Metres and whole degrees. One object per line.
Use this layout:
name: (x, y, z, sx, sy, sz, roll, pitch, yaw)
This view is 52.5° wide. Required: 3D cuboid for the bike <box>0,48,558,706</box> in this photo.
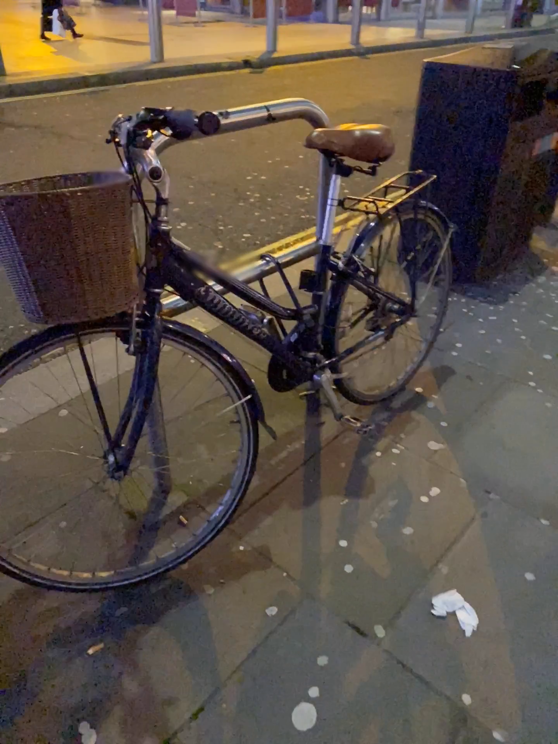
bike: (-0.040, -0.192, 1.588, 1.715, 1.063, 0.661, -27, 43, -33)
